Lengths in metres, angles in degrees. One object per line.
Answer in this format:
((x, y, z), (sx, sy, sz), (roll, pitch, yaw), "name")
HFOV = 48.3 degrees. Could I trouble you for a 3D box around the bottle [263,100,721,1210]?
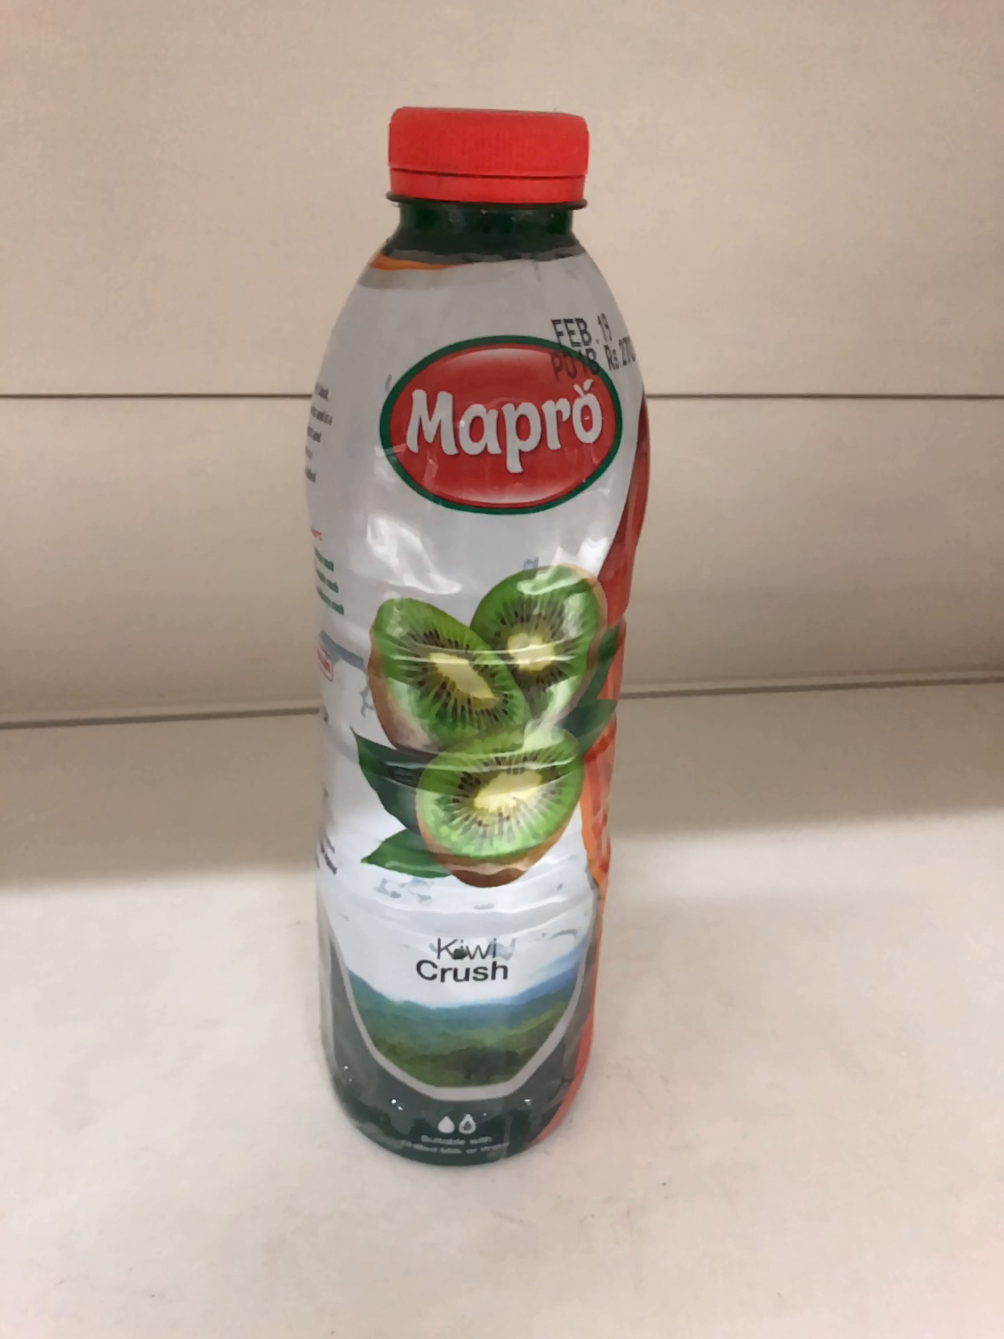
((-0.011, 0.007, 0.277), (0.080, 0.258, 0.070), (-3, 25, -11), "bottle")
